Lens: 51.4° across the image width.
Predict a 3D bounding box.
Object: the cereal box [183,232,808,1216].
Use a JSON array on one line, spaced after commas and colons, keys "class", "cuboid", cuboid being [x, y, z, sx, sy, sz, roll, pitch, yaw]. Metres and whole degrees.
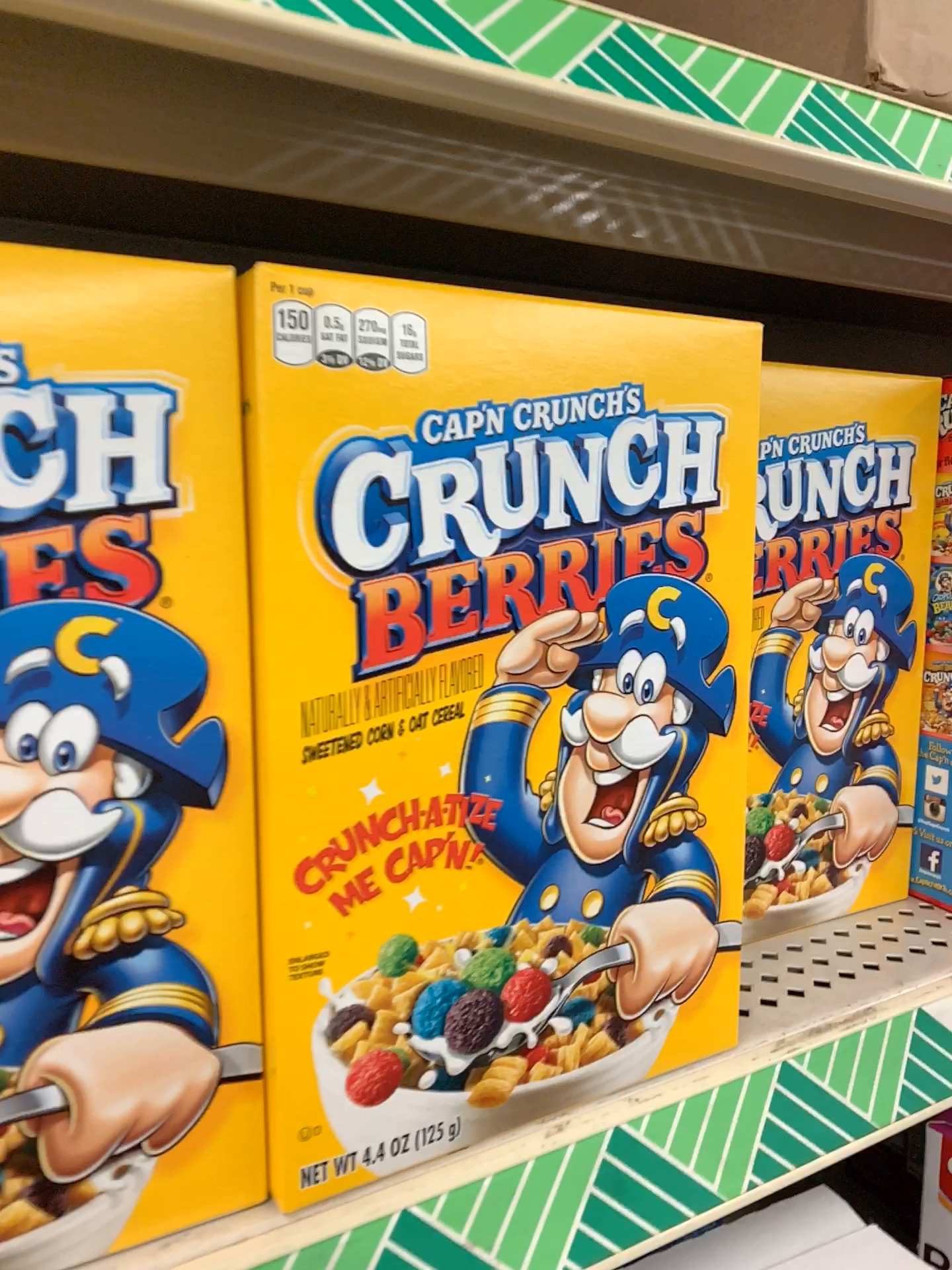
[{"class": "cereal box", "cuboid": [0.011, 0.015, 0.256, 0.150, 0.200, 0.050, -5, 8, -29]}]
